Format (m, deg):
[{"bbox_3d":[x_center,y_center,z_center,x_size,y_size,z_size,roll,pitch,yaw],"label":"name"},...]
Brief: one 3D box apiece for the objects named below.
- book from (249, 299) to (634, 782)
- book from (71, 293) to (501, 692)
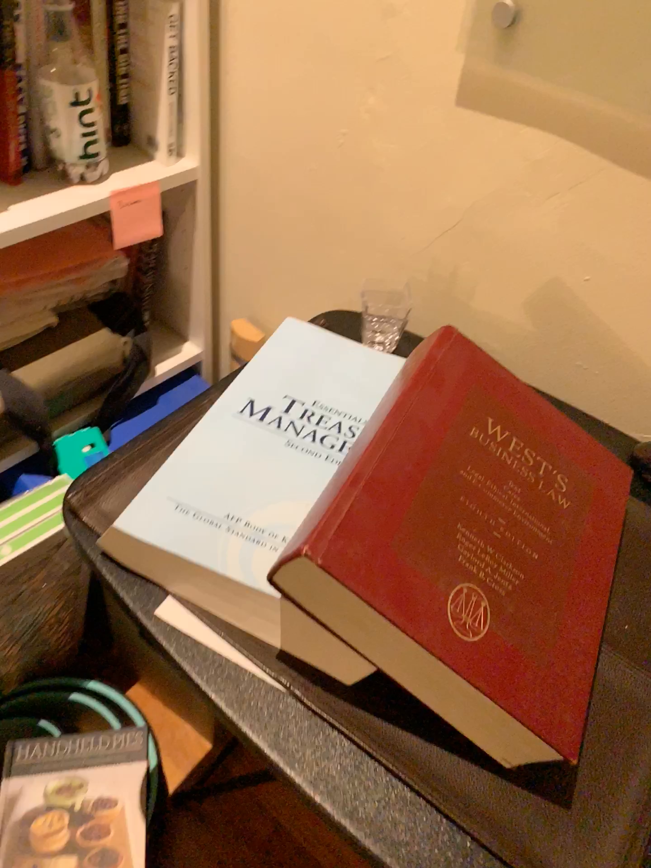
[{"bbox_3d":[0.105,0.052,0.473,0.210,0.050,0.271,39,48,-5],"label":"book"},{"bbox_3d":[-0.013,0.018,0.525,0.220,0.070,0.271,23,47,14],"label":"book"}]
